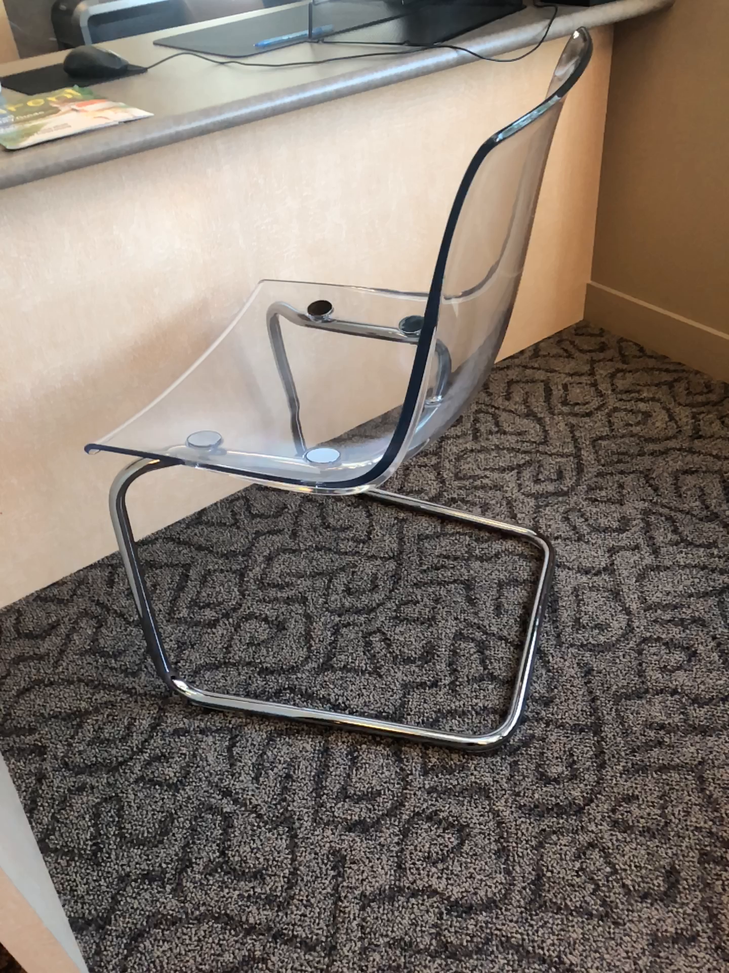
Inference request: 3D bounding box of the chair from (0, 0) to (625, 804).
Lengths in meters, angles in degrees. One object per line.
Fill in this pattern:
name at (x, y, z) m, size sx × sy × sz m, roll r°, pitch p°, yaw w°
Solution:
chair at (-0.050, -0.139, 1.091) m, size 0.641 × 0.804 × 0.603 m, roll 9°, pitch 40°, yaw 18°
